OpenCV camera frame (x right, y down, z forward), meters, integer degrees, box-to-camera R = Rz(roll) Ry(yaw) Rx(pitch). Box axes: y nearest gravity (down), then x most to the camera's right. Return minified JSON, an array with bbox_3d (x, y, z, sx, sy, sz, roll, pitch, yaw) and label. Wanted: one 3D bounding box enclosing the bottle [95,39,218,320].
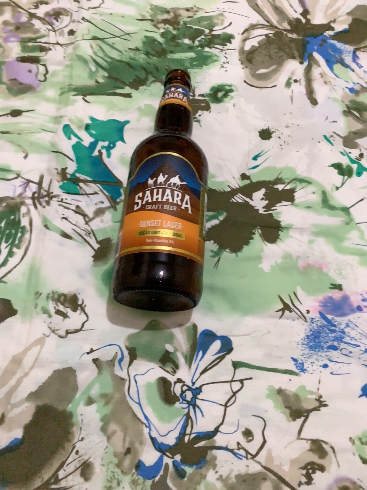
[{"bbox_3d":[-0.017,-0.066,0.348,0.080,0.070,0.250,5,67,-3],"label":"bottle"}]
